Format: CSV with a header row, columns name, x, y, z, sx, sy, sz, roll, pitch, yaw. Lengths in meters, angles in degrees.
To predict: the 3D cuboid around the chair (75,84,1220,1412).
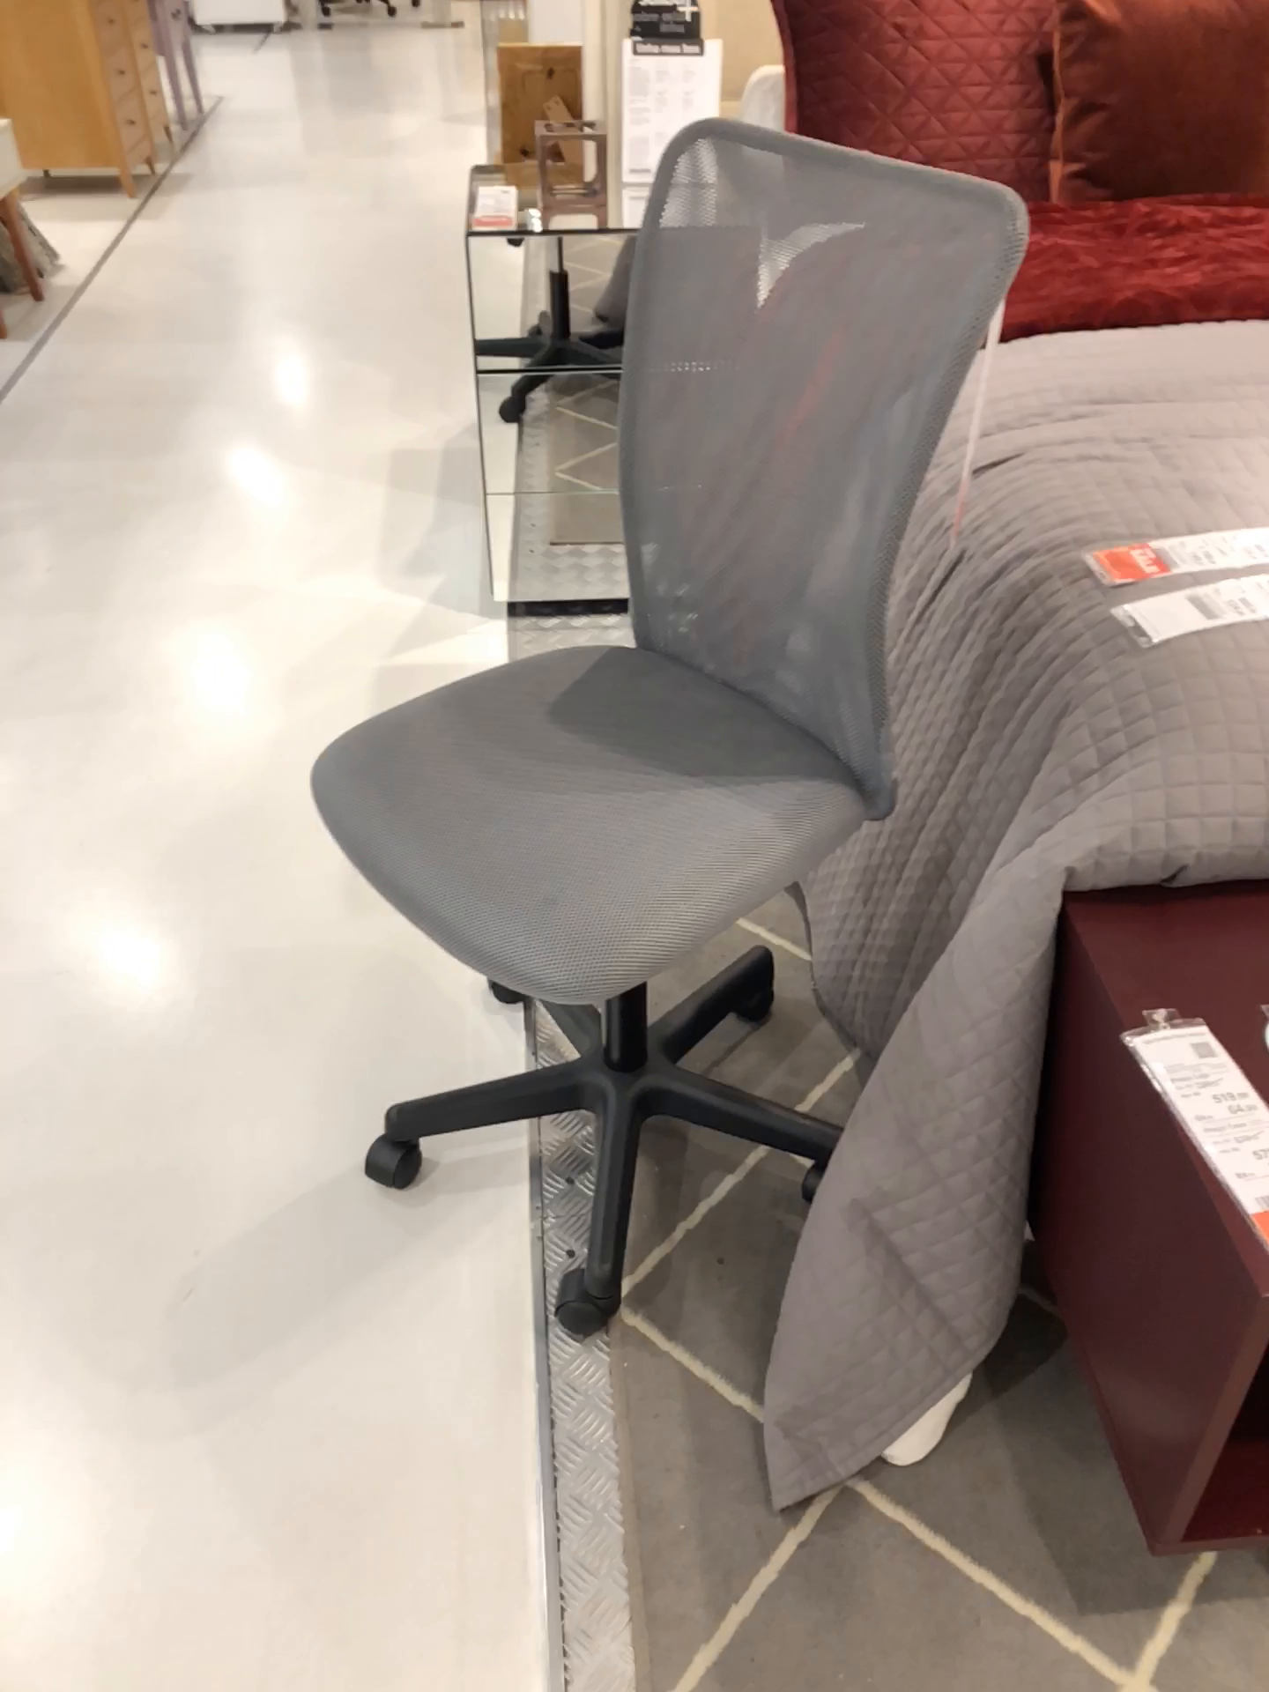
name,x,y,z,sx,sy,sz,roll,pitch,yaw
chair,-0.008,-0.111,1.308,0.642,0.942,0.563,-22,42,-25
